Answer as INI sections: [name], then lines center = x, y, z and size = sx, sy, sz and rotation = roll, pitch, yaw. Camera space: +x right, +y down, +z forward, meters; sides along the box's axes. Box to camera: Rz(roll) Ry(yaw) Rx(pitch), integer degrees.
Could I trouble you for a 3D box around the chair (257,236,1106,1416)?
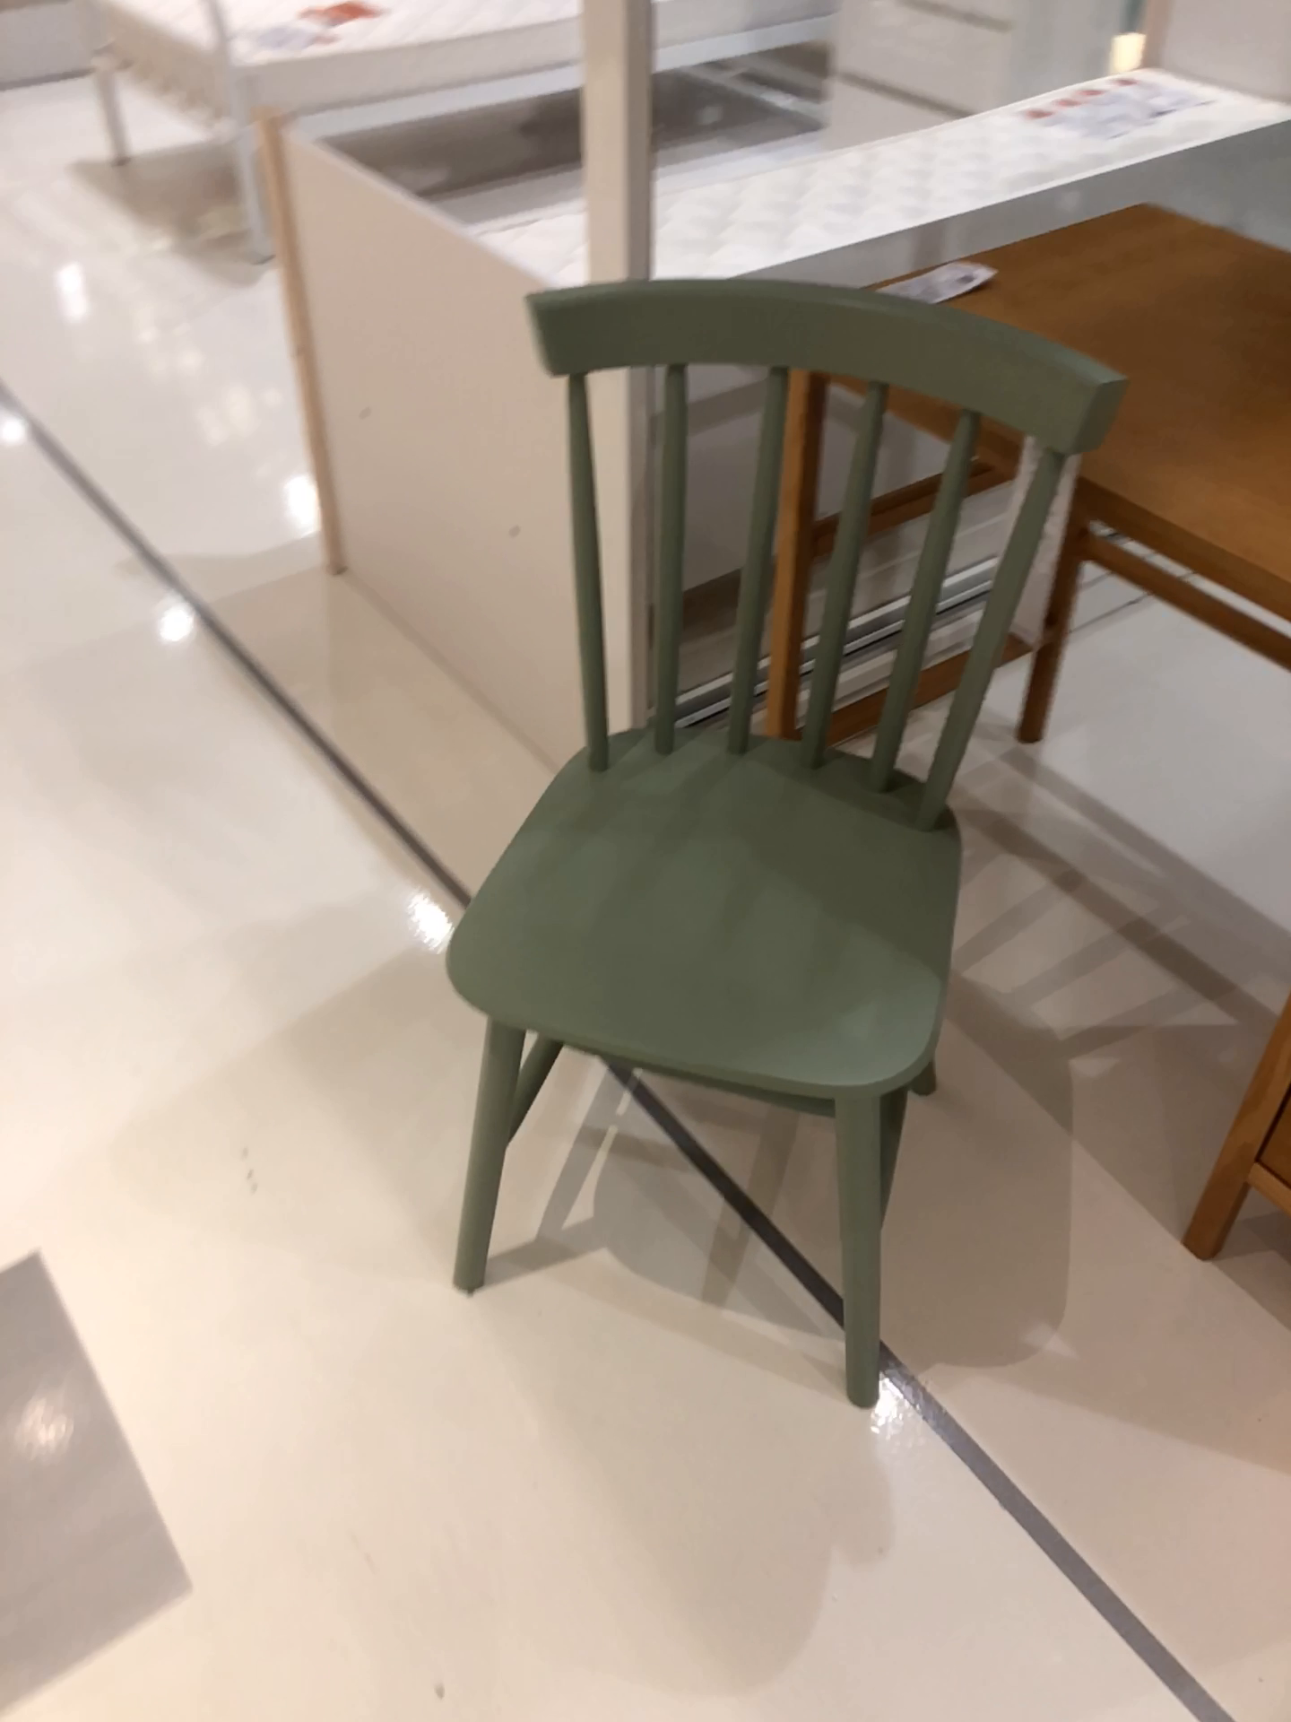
[chair]
center = 0.060, -0.003, 1.207
size = 0.450, 0.833, 0.463
rotation = 11, 43, 13
